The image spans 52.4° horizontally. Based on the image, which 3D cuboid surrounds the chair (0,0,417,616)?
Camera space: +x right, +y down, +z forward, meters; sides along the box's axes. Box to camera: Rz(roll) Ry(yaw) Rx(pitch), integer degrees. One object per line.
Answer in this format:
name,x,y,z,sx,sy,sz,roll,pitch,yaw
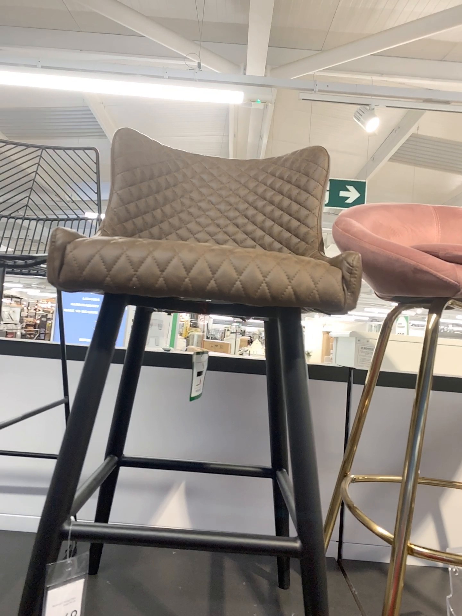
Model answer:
chair,-0.068,0.073,0.870,0.535,0.997,0.465,5,-1,-7
